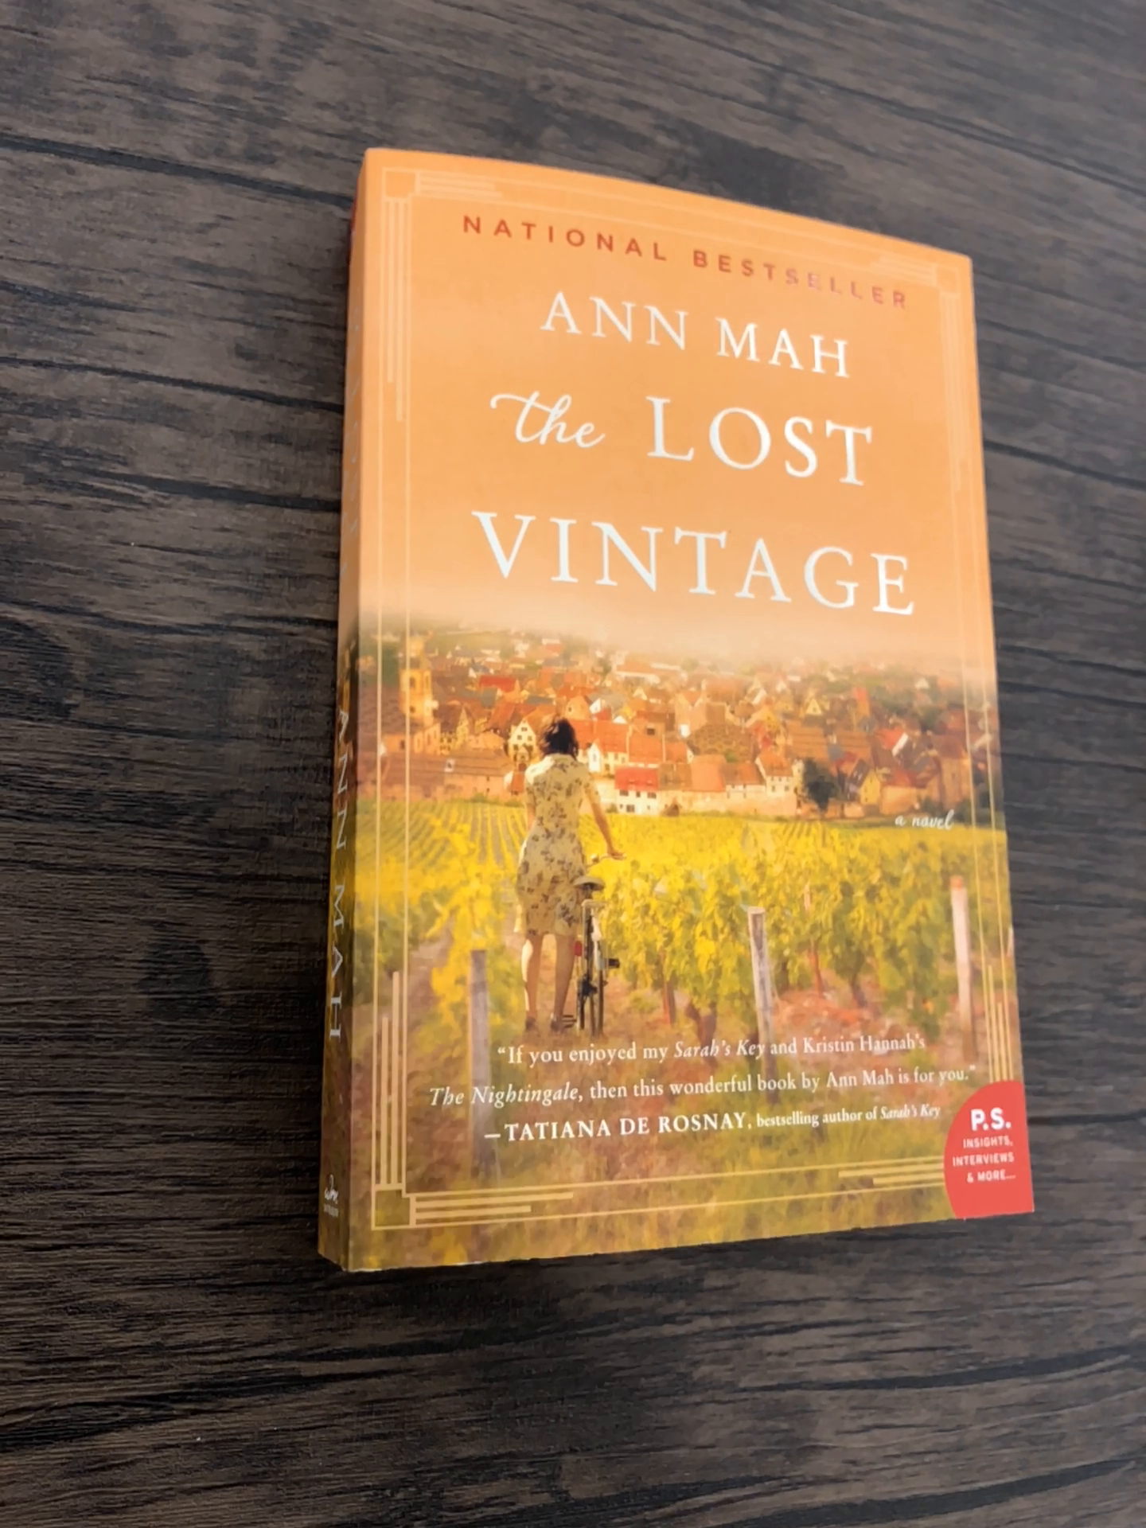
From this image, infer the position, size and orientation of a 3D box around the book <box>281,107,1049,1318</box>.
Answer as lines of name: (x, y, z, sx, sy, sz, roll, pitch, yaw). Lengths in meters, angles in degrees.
book: (0.017, -0.010, 0.250, 0.134, 0.040, 0.200, 3, 80, -20)
